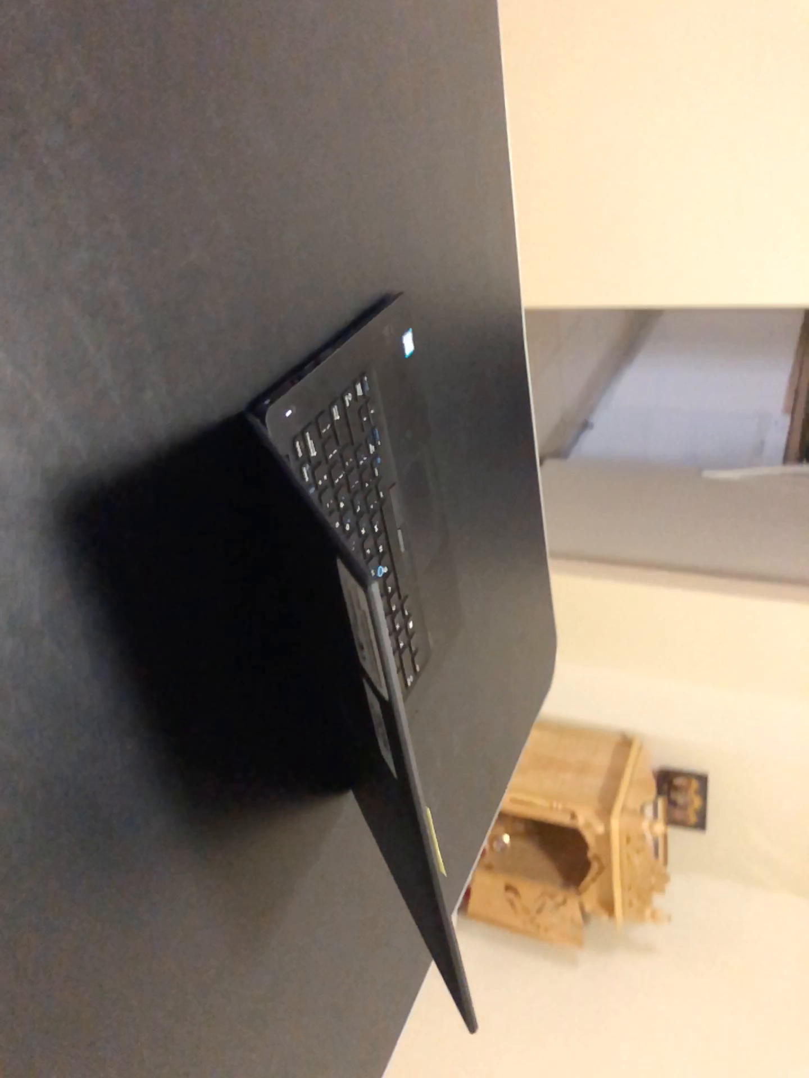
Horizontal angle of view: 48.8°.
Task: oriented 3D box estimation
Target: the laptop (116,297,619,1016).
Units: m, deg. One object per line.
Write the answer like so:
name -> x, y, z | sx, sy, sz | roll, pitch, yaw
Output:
laptop -> 0.028, 0.050, 0.622 | 0.369, 0.140, 0.320 | -52, 140, -47
